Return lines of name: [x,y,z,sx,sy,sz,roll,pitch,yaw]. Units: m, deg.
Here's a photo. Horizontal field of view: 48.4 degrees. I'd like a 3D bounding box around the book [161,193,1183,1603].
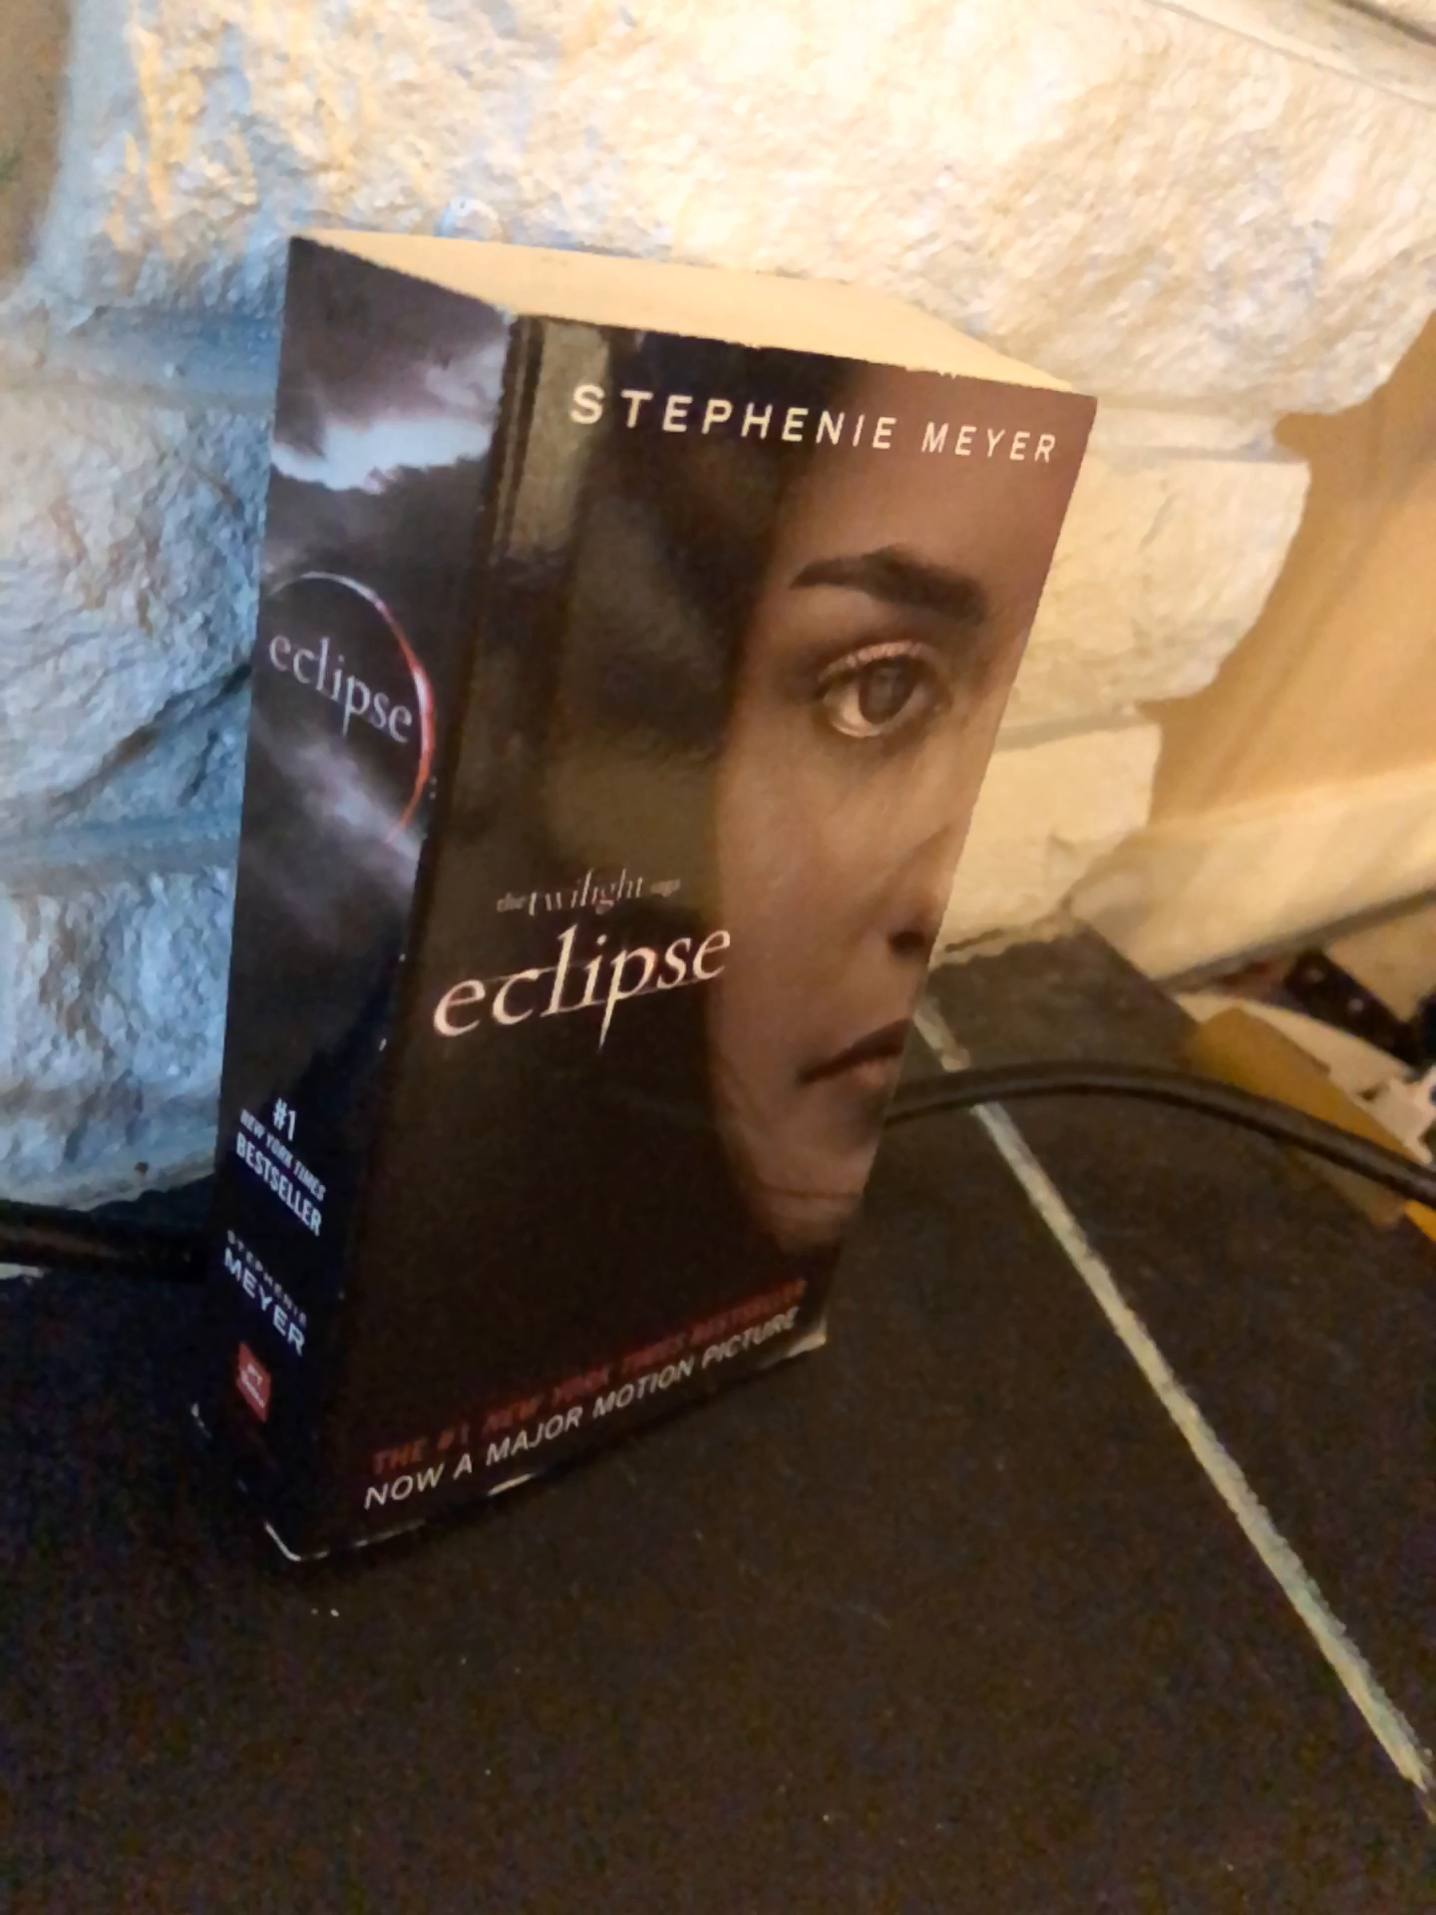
book: [-0.015,-0.001,0.232,0.106,0.181,0.042,-10,39,-38]
